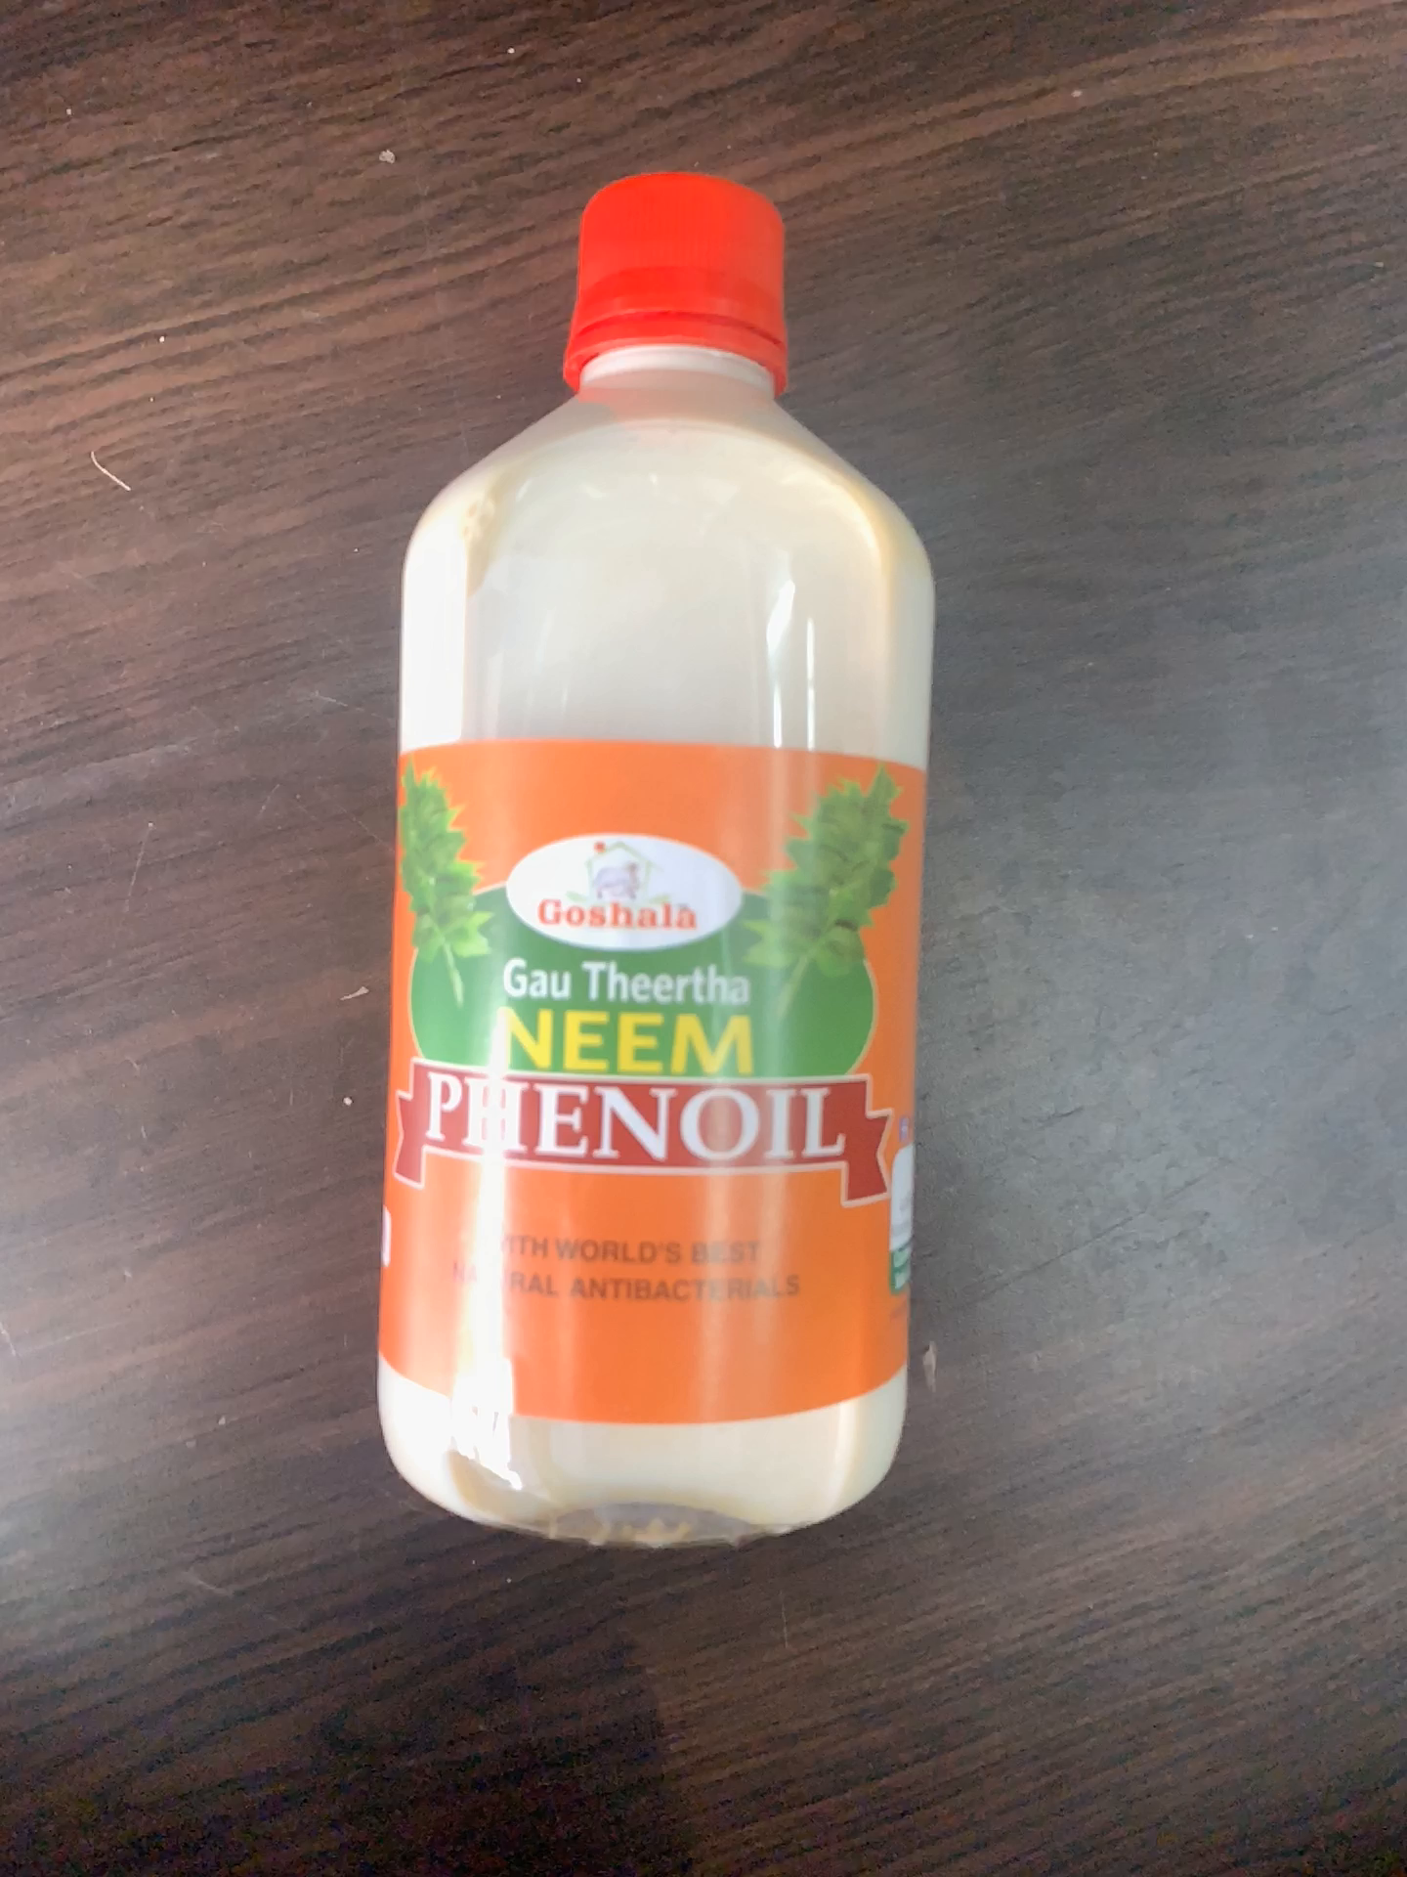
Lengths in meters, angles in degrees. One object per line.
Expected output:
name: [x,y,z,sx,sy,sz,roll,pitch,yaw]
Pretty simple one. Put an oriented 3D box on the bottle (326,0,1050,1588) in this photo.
bottle: [-0.004,-0.017,0.210,0.080,0.070,0.190,2,92,-3]
